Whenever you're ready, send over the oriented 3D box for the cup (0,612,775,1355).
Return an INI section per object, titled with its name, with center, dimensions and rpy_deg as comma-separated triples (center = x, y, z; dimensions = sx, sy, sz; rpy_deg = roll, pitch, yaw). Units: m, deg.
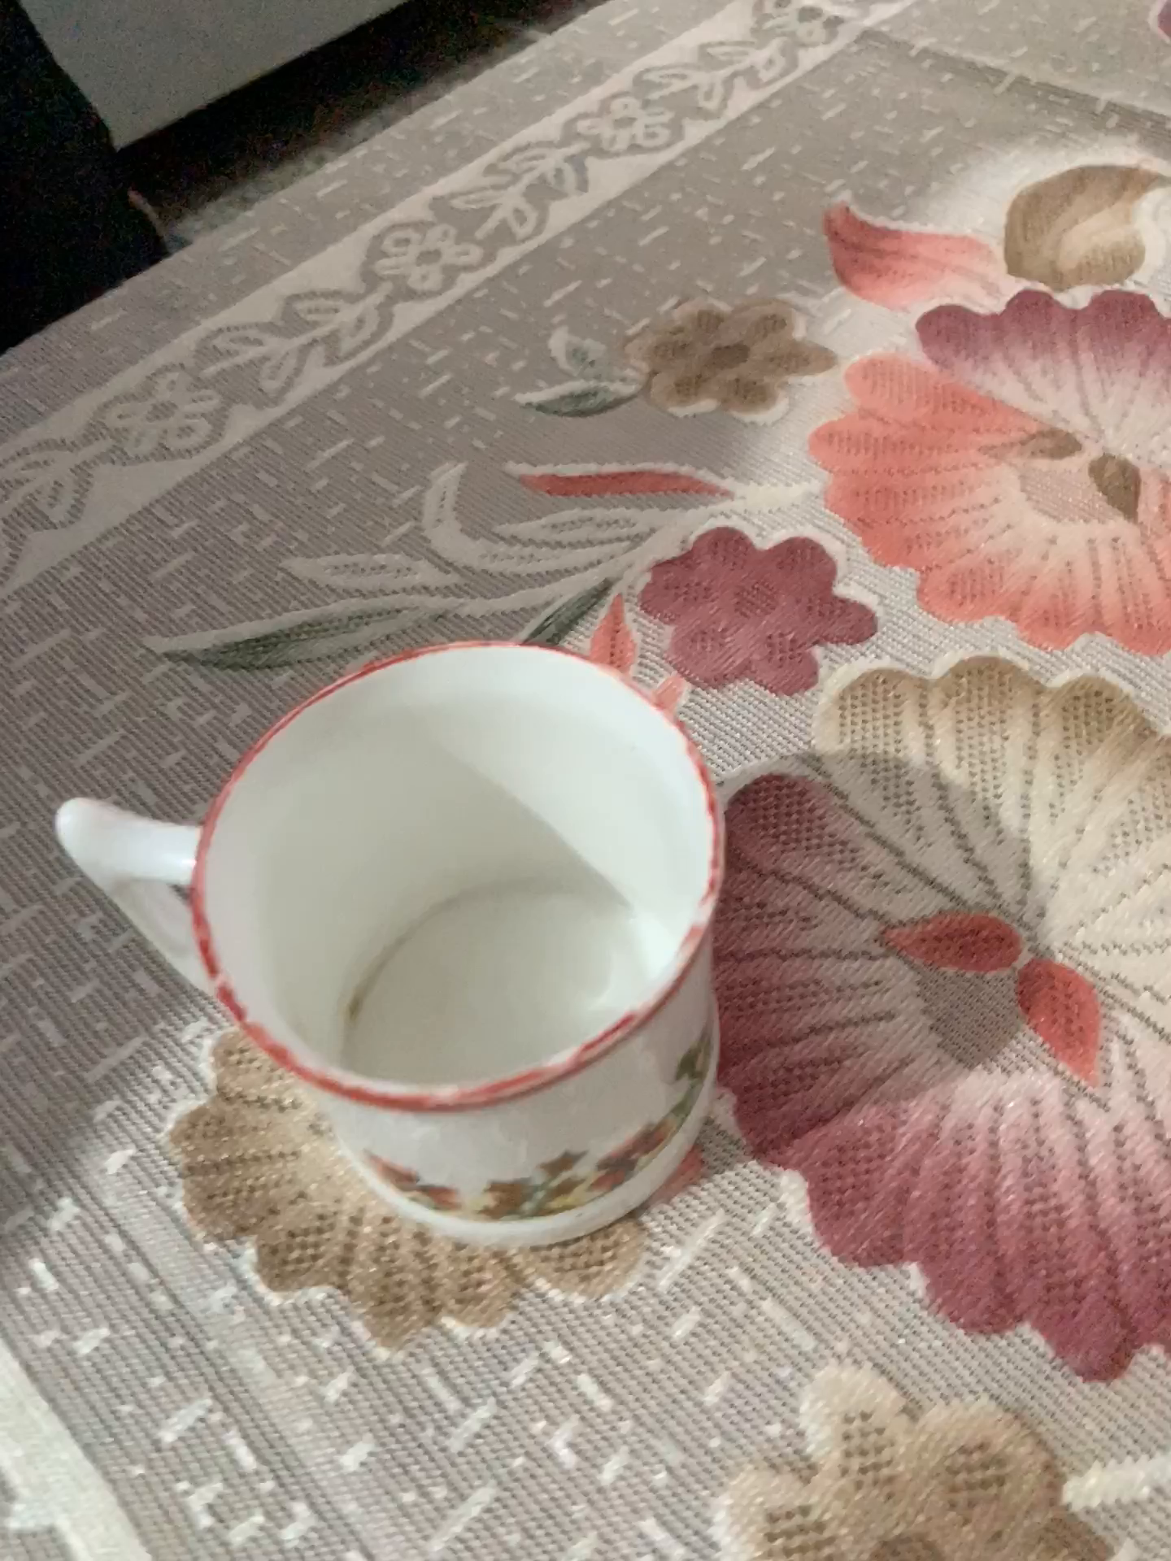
[cup]
center = -0.026, 0.031, 0.173
dimensions = 0.100, 0.080, 0.070
rpy_deg = 3, 55, 8
